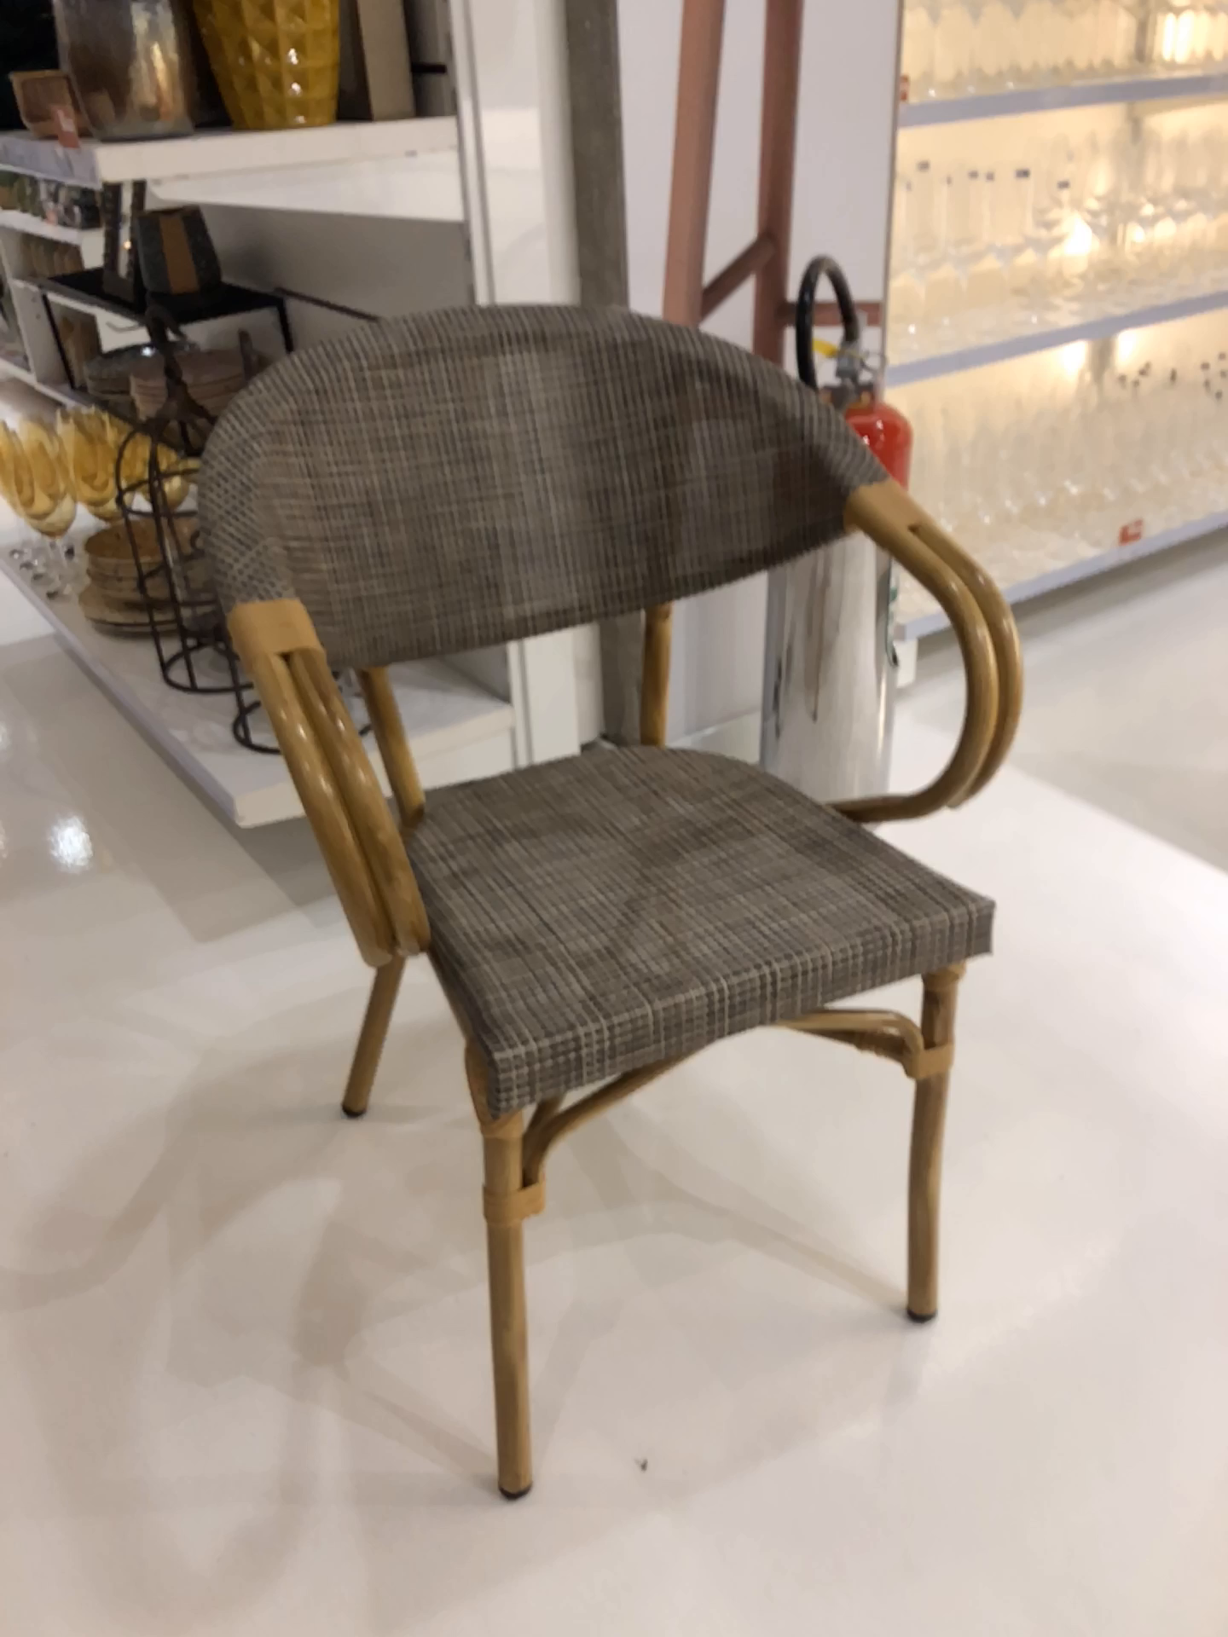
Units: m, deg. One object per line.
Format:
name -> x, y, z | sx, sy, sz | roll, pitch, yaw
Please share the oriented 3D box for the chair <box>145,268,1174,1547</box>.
chair -> -0.003, 0.018, 1.145 | 0.521, 0.784, 0.574 | -15, 32, -20
